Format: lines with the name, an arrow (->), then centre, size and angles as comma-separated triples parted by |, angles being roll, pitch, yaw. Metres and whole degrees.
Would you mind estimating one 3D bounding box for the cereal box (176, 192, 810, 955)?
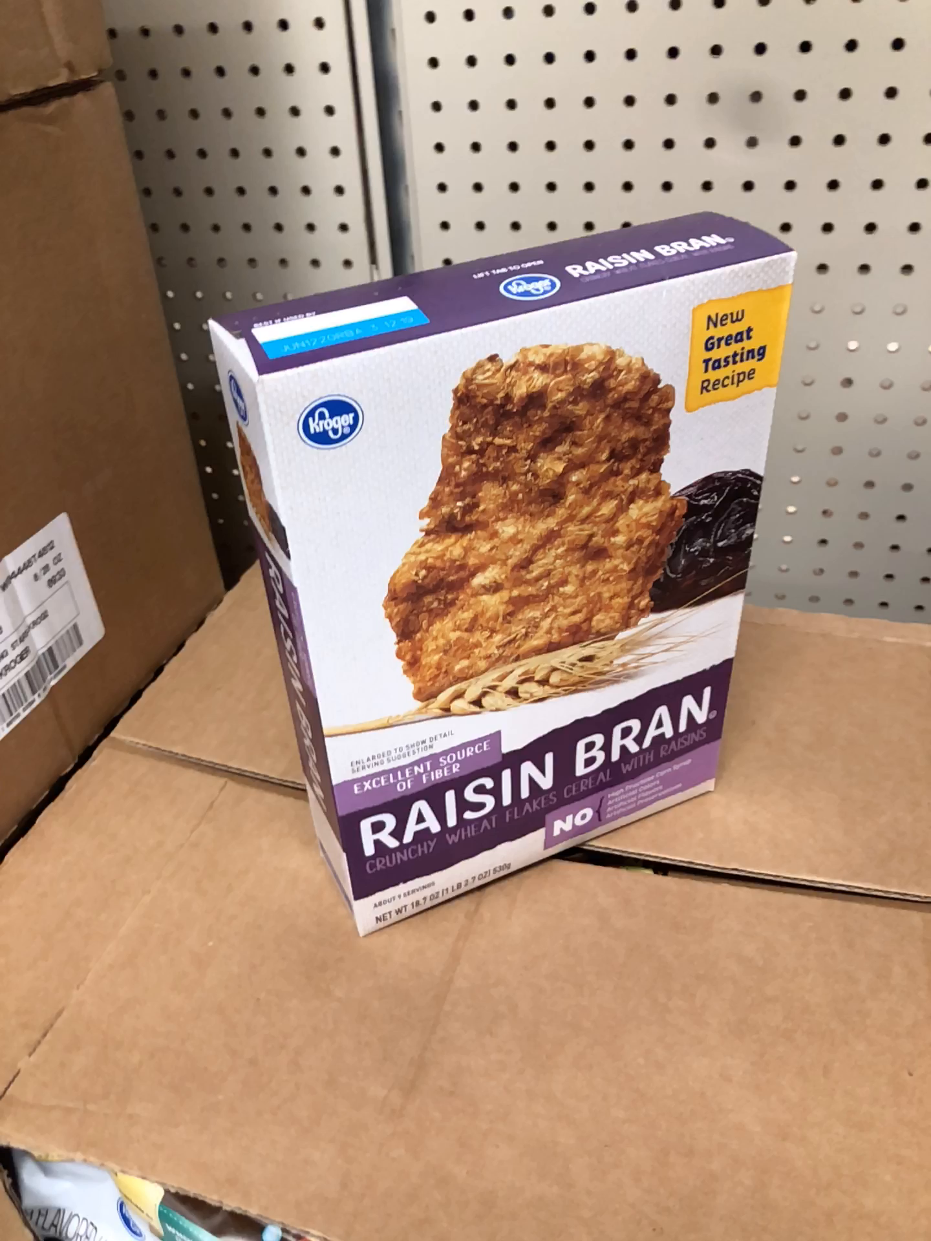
cereal box -> 0.017, -0.009, 0.415 | 0.200, 0.269, 0.060 | -18, 40, -19
